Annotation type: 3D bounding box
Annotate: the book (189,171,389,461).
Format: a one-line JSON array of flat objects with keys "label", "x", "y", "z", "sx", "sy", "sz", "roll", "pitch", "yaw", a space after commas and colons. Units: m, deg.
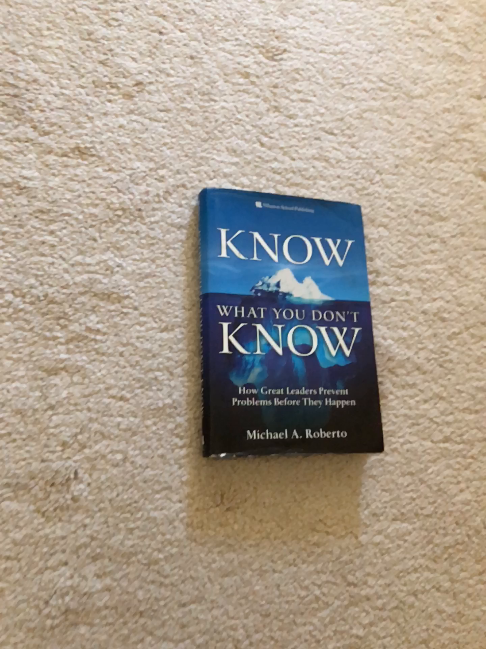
[{"label": "book", "x": 0.037, "y": -0.008, "z": 0.473, "sx": 0.160, "sy": 0.034, "sz": 0.239, "roll": 2, "pitch": 76, "yaw": -18}]
